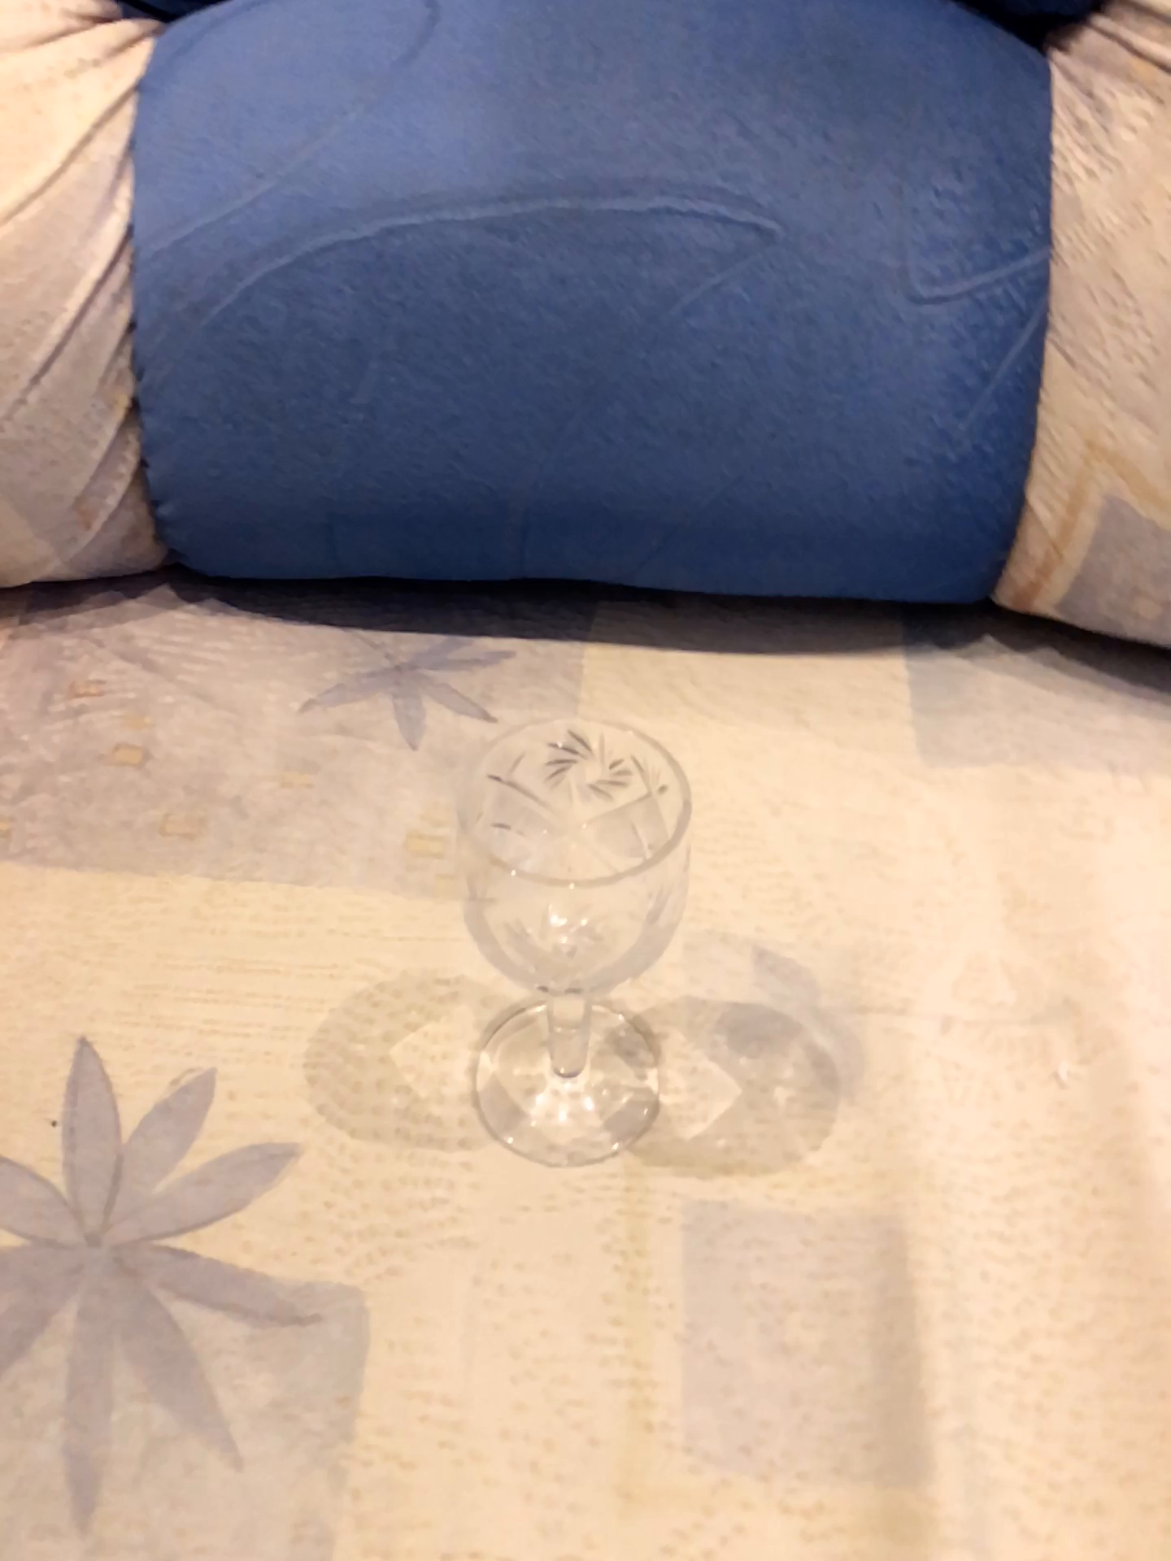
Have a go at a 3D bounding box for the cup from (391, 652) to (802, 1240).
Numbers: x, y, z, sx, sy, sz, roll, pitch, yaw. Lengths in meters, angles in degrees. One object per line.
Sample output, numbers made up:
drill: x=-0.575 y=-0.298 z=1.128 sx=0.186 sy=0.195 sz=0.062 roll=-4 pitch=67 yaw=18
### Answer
cup: x=0.003 y=0.043 z=0.308 sx=0.060 sy=0.119 sz=0.060 roll=0 pitch=46 yaw=0
